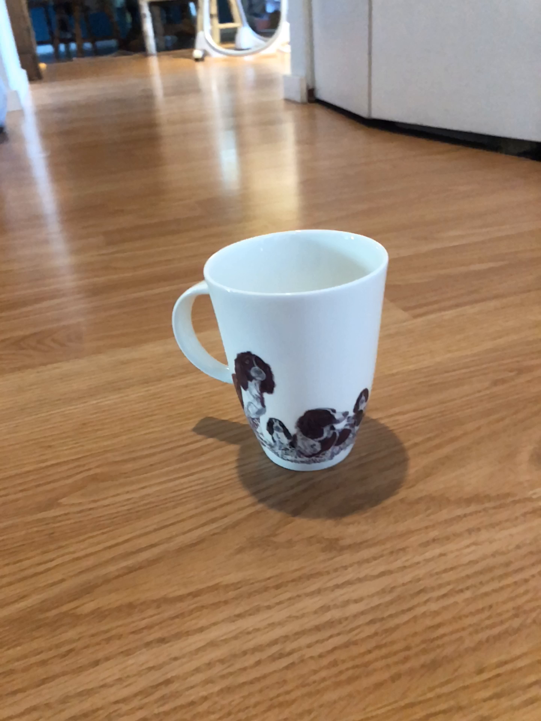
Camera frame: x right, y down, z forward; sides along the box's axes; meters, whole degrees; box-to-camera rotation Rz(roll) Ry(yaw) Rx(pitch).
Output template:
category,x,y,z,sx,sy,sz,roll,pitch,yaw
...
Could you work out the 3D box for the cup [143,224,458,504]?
category,x,y,z,sx,sy,sz,roll,pitch,yaw
cup,0.020,-0.007,0.300,0.120,0.090,0.090,10,33,25
